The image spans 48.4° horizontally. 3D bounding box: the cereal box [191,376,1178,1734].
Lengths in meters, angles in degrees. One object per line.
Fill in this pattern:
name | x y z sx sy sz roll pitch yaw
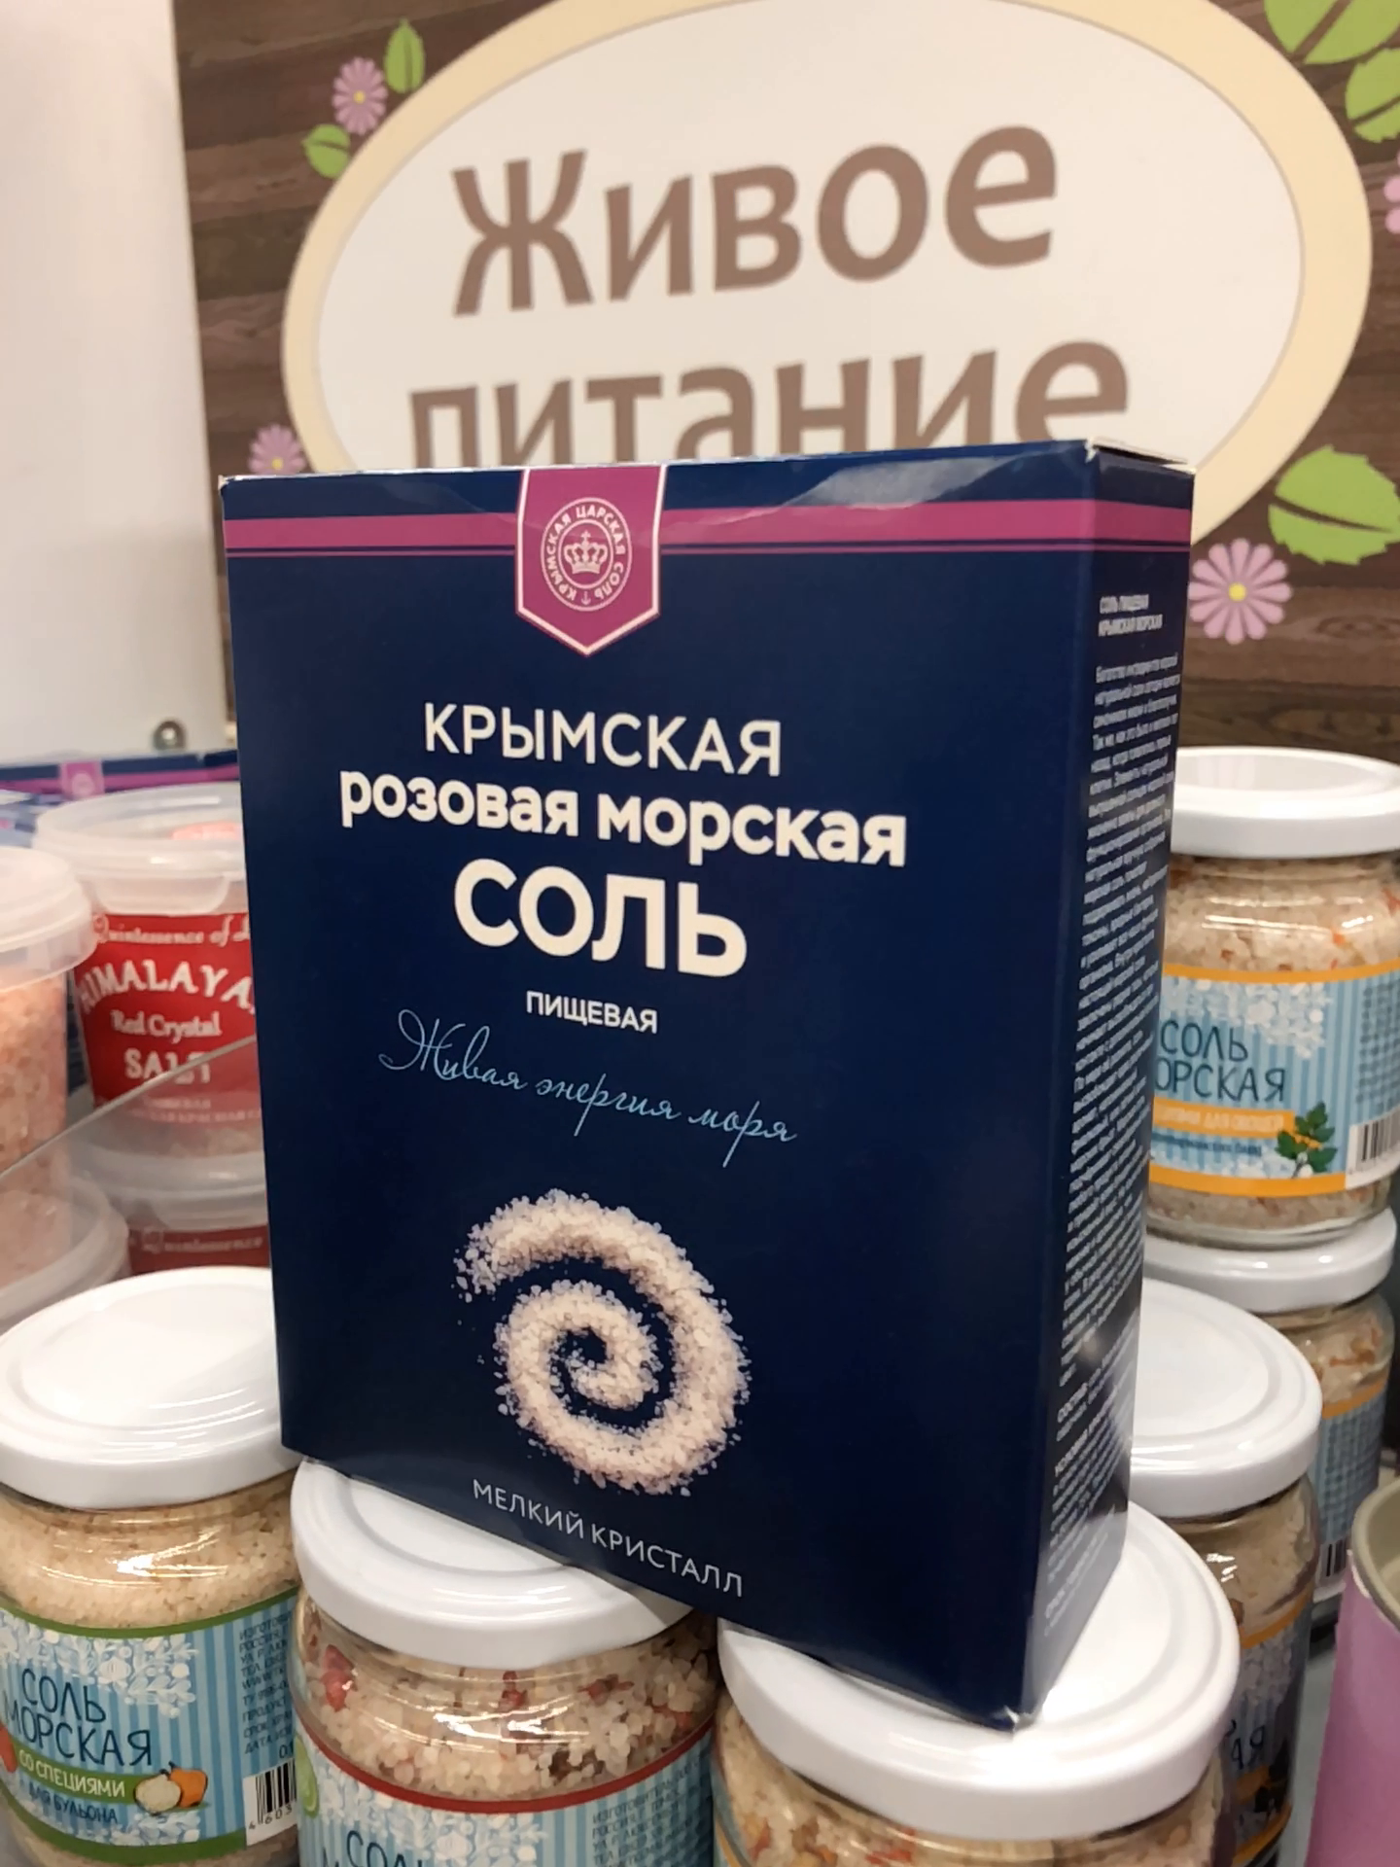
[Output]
cereal box | -0.006 0.009 0.211 0.120 0.149 0.040 8 15 30
